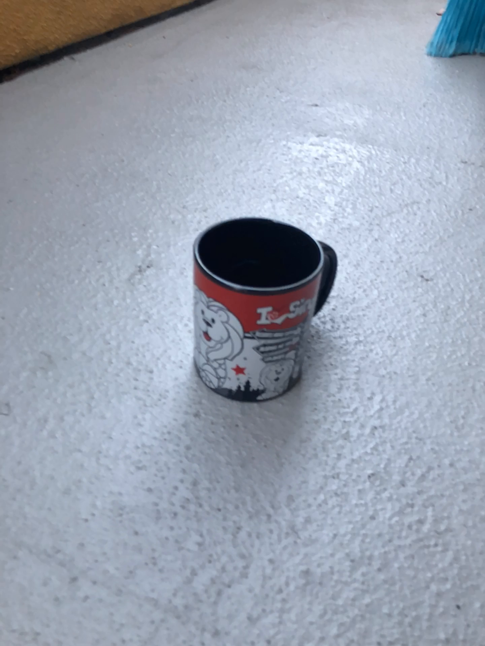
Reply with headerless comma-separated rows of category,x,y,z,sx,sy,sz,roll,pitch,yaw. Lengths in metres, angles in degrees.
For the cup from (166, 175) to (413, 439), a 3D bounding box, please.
cup,0.027,-0.016,0.353,0.130,0.110,0.080,-28,51,-33
